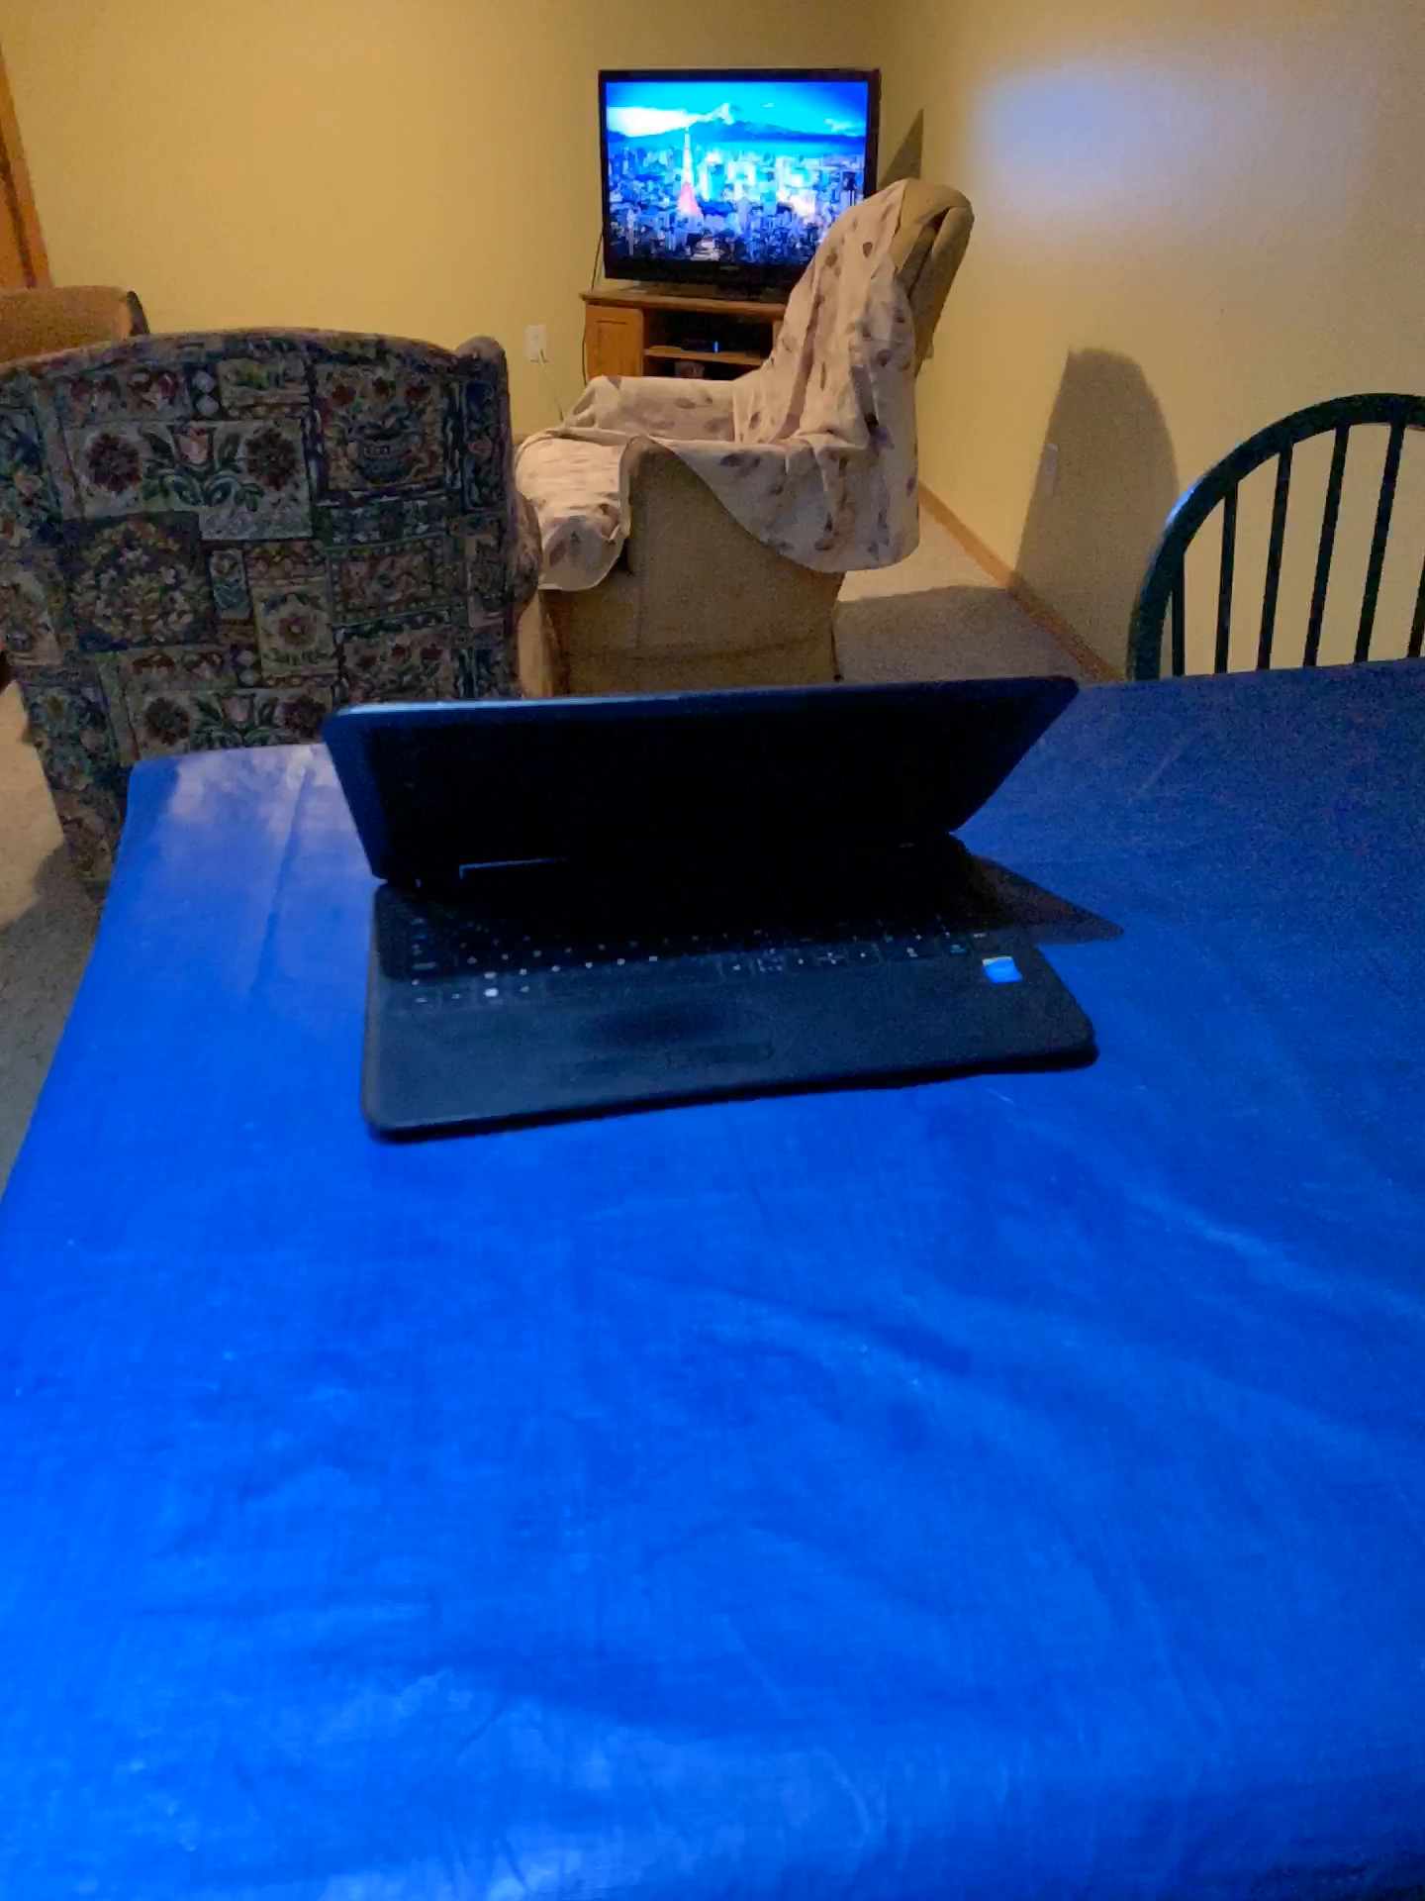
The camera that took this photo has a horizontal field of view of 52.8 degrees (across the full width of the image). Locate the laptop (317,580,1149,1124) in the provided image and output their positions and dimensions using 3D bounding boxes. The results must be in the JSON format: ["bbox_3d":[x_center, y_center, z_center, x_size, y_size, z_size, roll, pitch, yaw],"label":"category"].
[{"bbox_3d":[-0.005,-0.070,0.779,0.370,0.167,0.254,-5,31,-7],"label":"laptop"}]
